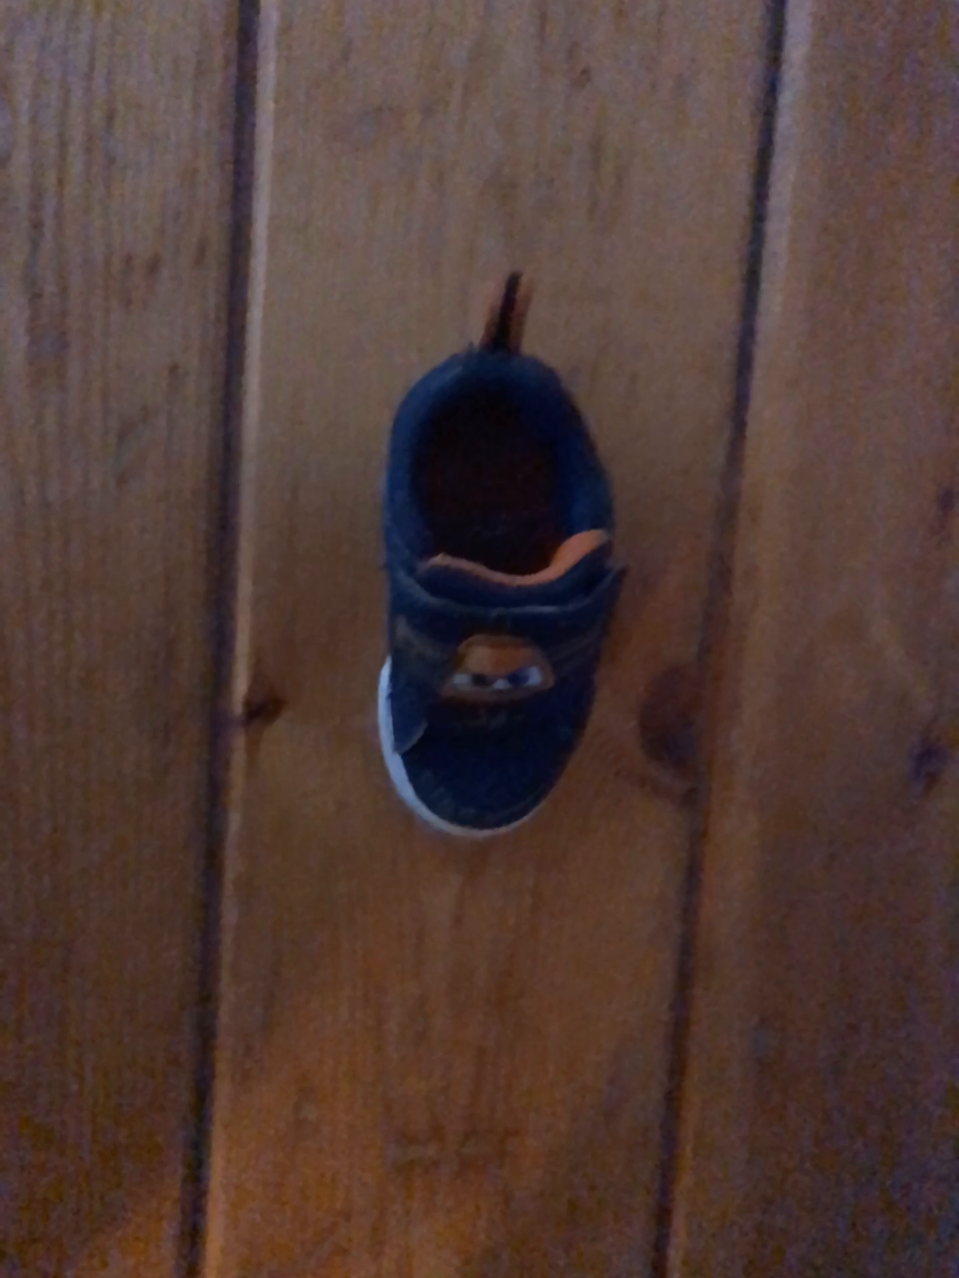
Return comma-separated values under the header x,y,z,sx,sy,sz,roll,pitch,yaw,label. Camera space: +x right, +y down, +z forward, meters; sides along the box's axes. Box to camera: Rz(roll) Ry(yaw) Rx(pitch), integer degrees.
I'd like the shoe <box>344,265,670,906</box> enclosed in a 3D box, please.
x,y,z,sx,sy,sz,roll,pitch,yaw,label
0.002,-0.013,0.308,0.070,0.070,0.160,4,96,-9,shoe
